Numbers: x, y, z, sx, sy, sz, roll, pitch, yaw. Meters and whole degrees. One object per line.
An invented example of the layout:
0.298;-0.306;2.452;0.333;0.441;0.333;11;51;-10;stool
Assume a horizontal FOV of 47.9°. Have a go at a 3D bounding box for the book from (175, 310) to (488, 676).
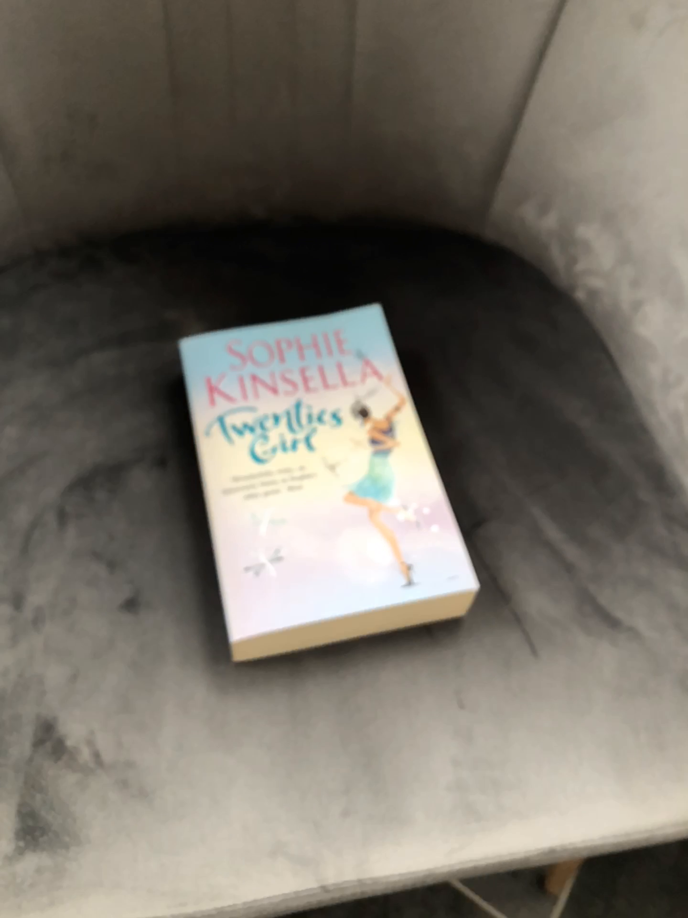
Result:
-0.017;0.008;0.448;0.132;0.043;0.201;-9;57;-12;book
